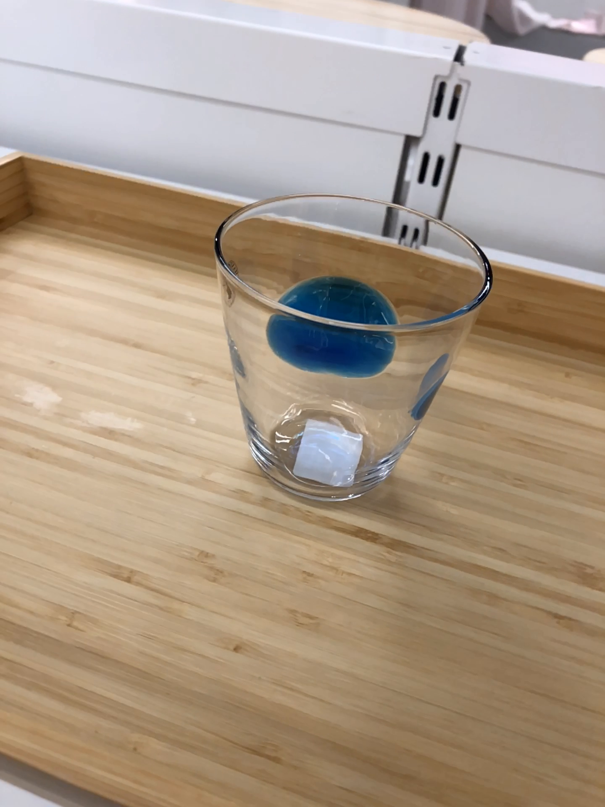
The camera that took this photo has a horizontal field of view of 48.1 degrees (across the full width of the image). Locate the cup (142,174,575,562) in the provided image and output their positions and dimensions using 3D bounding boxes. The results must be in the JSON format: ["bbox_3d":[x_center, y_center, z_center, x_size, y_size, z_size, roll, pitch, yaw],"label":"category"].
[{"bbox_3d":[0.015,-0.023,0.241,0.100,0.070,0.100,5,38,-4],"label":"cup"}]

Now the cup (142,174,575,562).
[{"bbox_3d":[0.015,-0.023,0.241,0.100,0.070,0.100,5,38,-4],"label":"cup"}]
